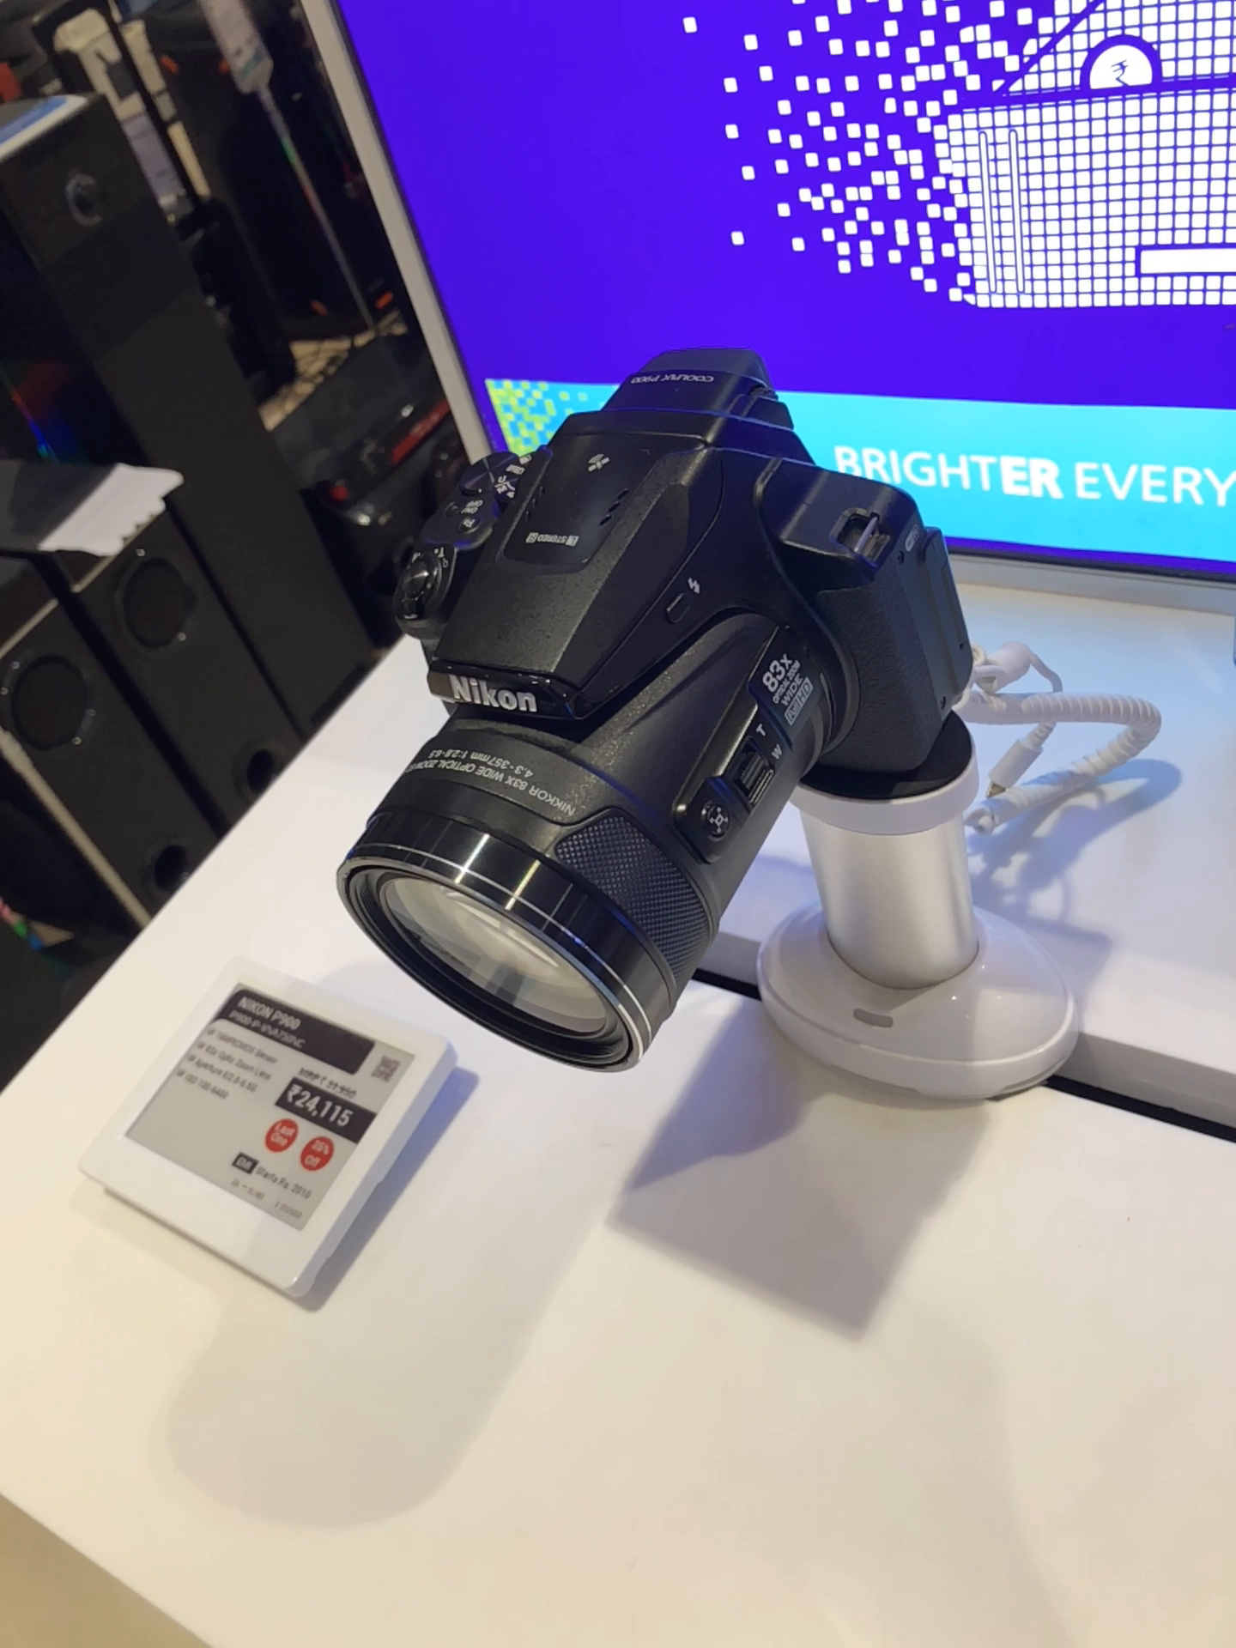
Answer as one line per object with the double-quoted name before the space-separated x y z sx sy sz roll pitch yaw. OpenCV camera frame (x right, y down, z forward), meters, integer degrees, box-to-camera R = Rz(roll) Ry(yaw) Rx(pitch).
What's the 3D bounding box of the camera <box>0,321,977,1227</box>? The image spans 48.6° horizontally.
"camera" -0.019 -0.023 0.291 0.140 0.099 0.140 14 53 30
